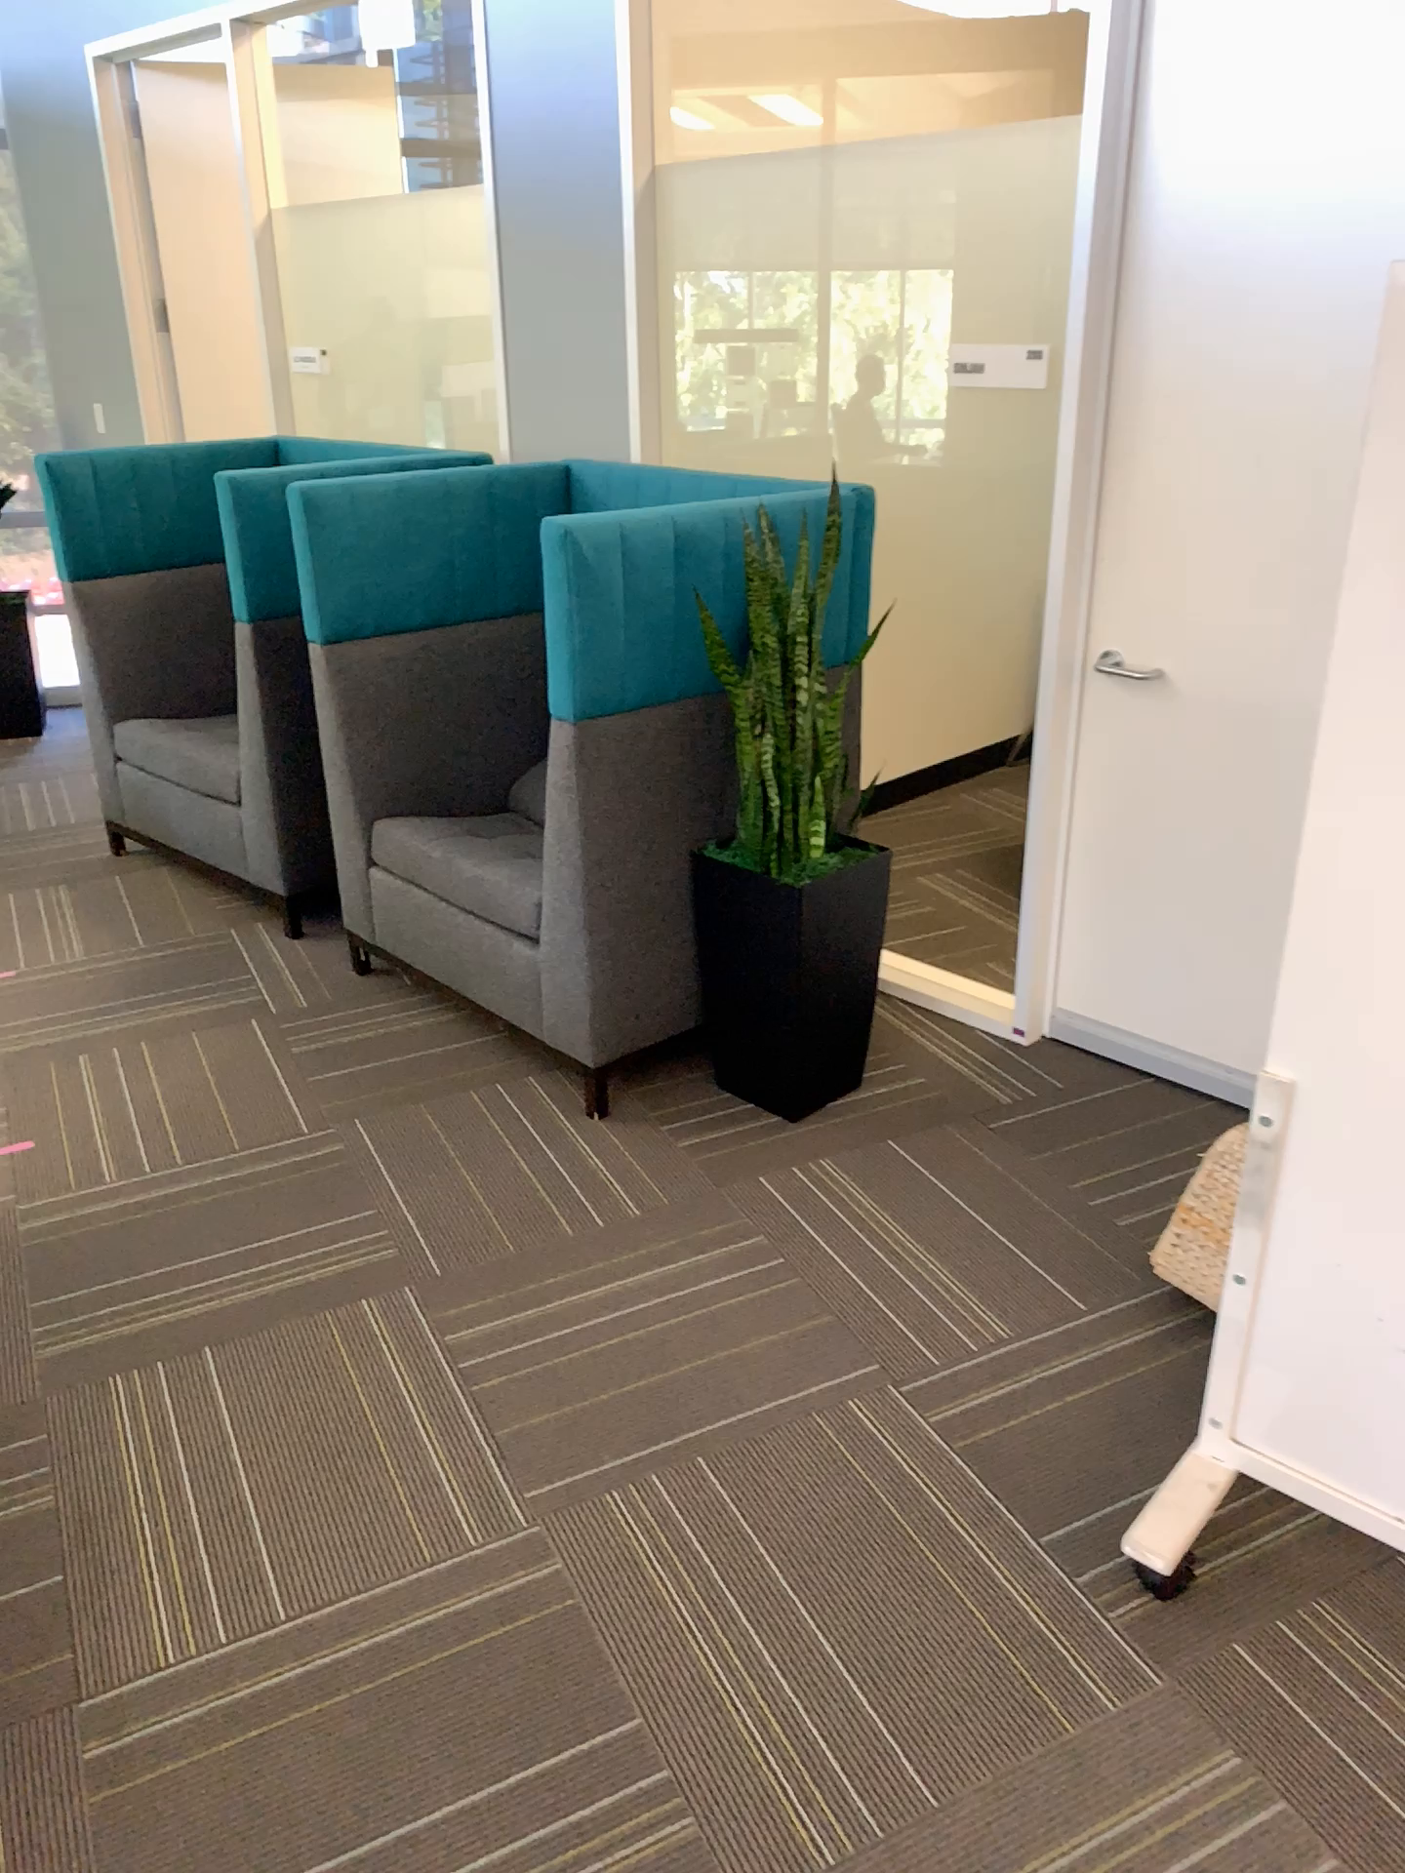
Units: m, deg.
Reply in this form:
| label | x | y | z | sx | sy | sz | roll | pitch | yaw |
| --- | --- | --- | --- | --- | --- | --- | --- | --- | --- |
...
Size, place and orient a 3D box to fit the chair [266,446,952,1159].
| label | x | y | z | sx | sy | sz | roll | pitch | yaw |
| --- | --- | --- | --- | --- | --- | --- | --- | --- | --- |
| chair | -0.203 | -0.413 | 3.250 | 1.011 | 1.213 | 1.055 | -19 | 29 | -37 |
